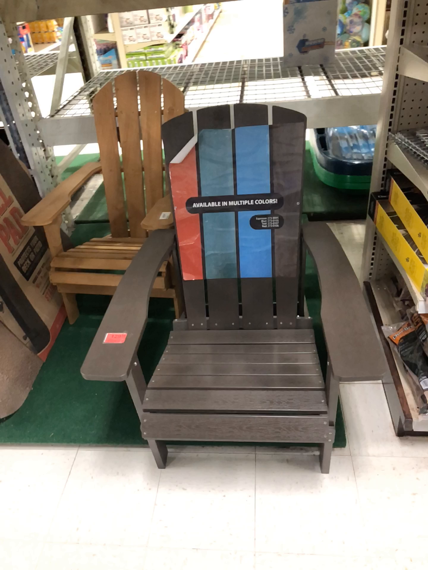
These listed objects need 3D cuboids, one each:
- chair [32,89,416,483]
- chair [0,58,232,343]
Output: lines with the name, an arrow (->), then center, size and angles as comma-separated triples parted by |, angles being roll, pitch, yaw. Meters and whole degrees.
chair -> 0.078, -0.043, 1.479 | 0.717, 0.816, 0.920 | -1, 36, 7
chair -> -0.340, -0.412, 2.064 | 0.637, 0.846, 0.980 | 2, 37, 12
